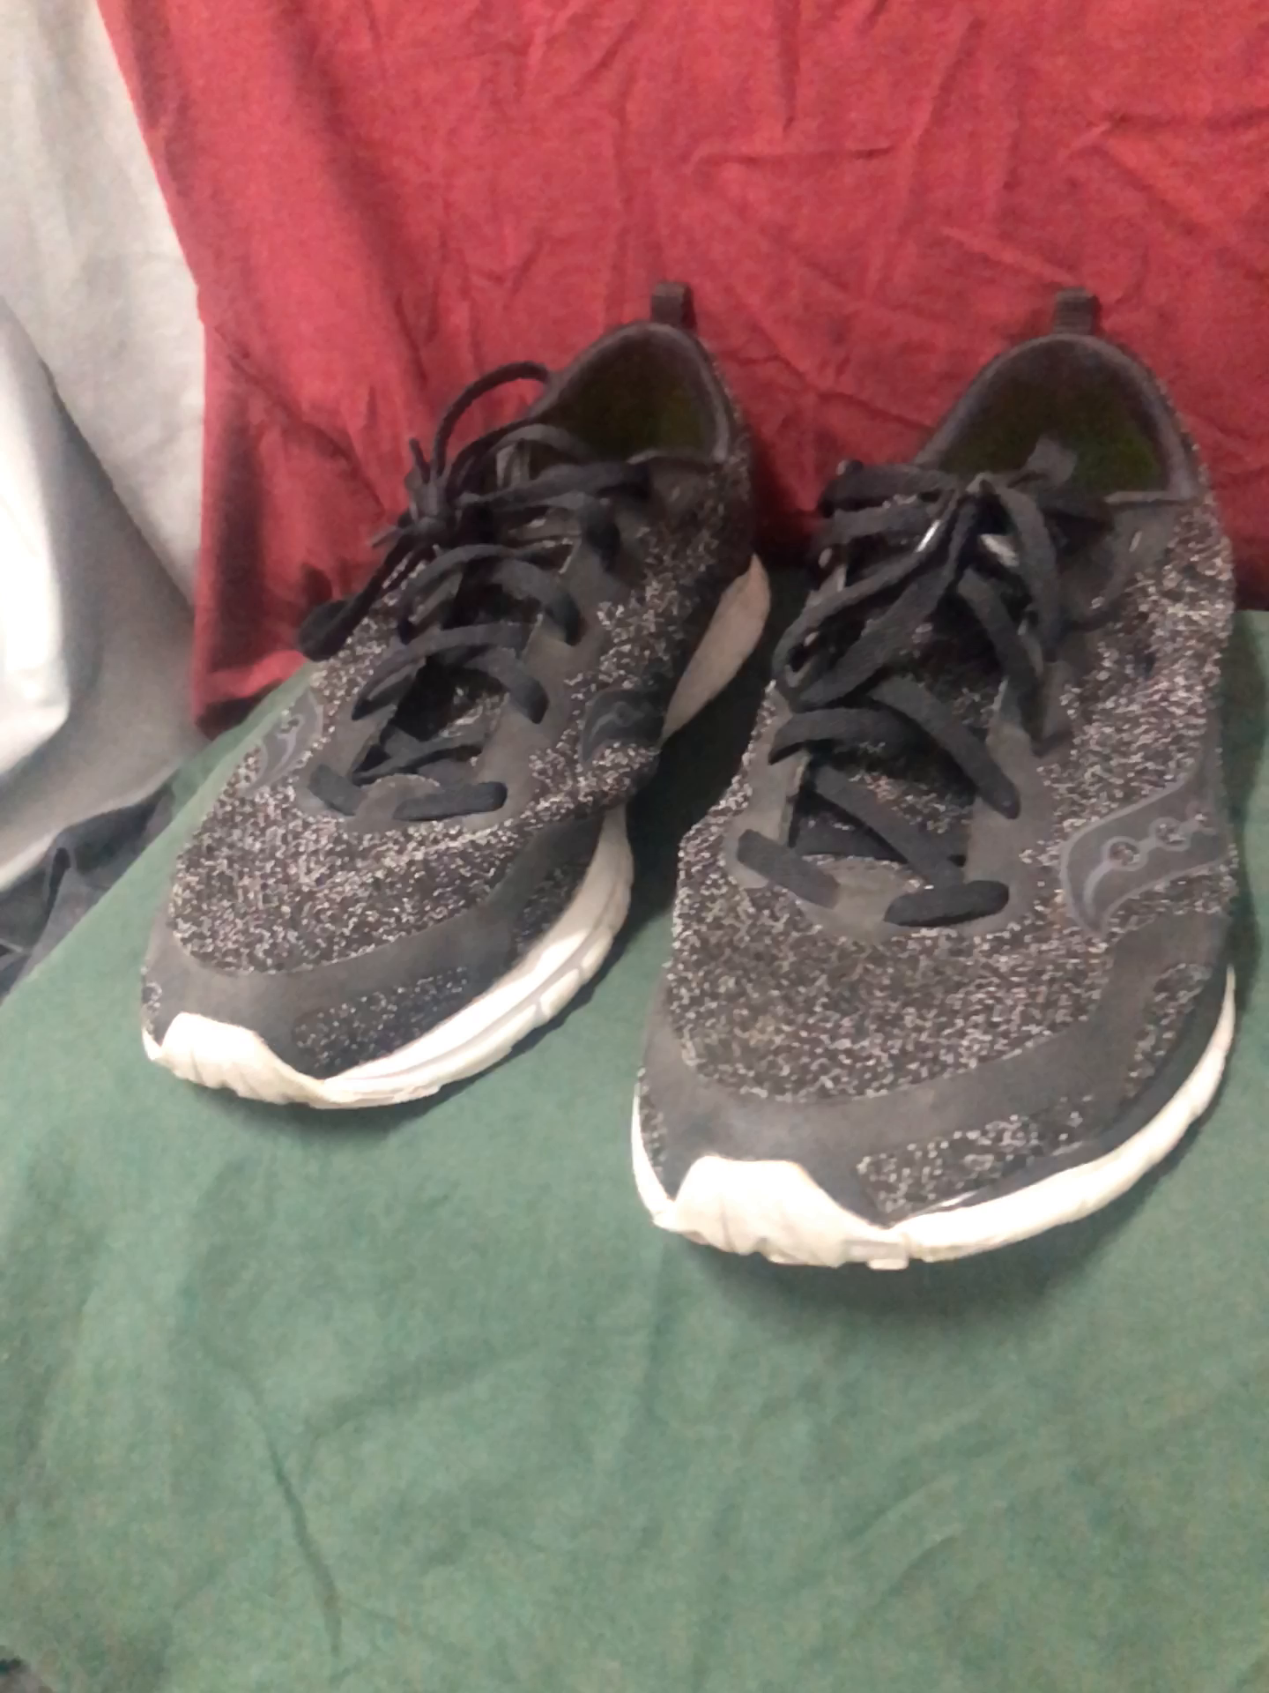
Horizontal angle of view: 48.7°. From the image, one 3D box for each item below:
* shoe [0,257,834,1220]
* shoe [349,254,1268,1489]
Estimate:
[{"bbox_3d":[-0.048,-0.054,0.371,0.120,0.099,0.272,6,41,24],"label":"shoe"},{"bbox_3d":[0.073,-0.028,0.302,0.120,0.099,0.262,7,42,26],"label":"shoe"}]
